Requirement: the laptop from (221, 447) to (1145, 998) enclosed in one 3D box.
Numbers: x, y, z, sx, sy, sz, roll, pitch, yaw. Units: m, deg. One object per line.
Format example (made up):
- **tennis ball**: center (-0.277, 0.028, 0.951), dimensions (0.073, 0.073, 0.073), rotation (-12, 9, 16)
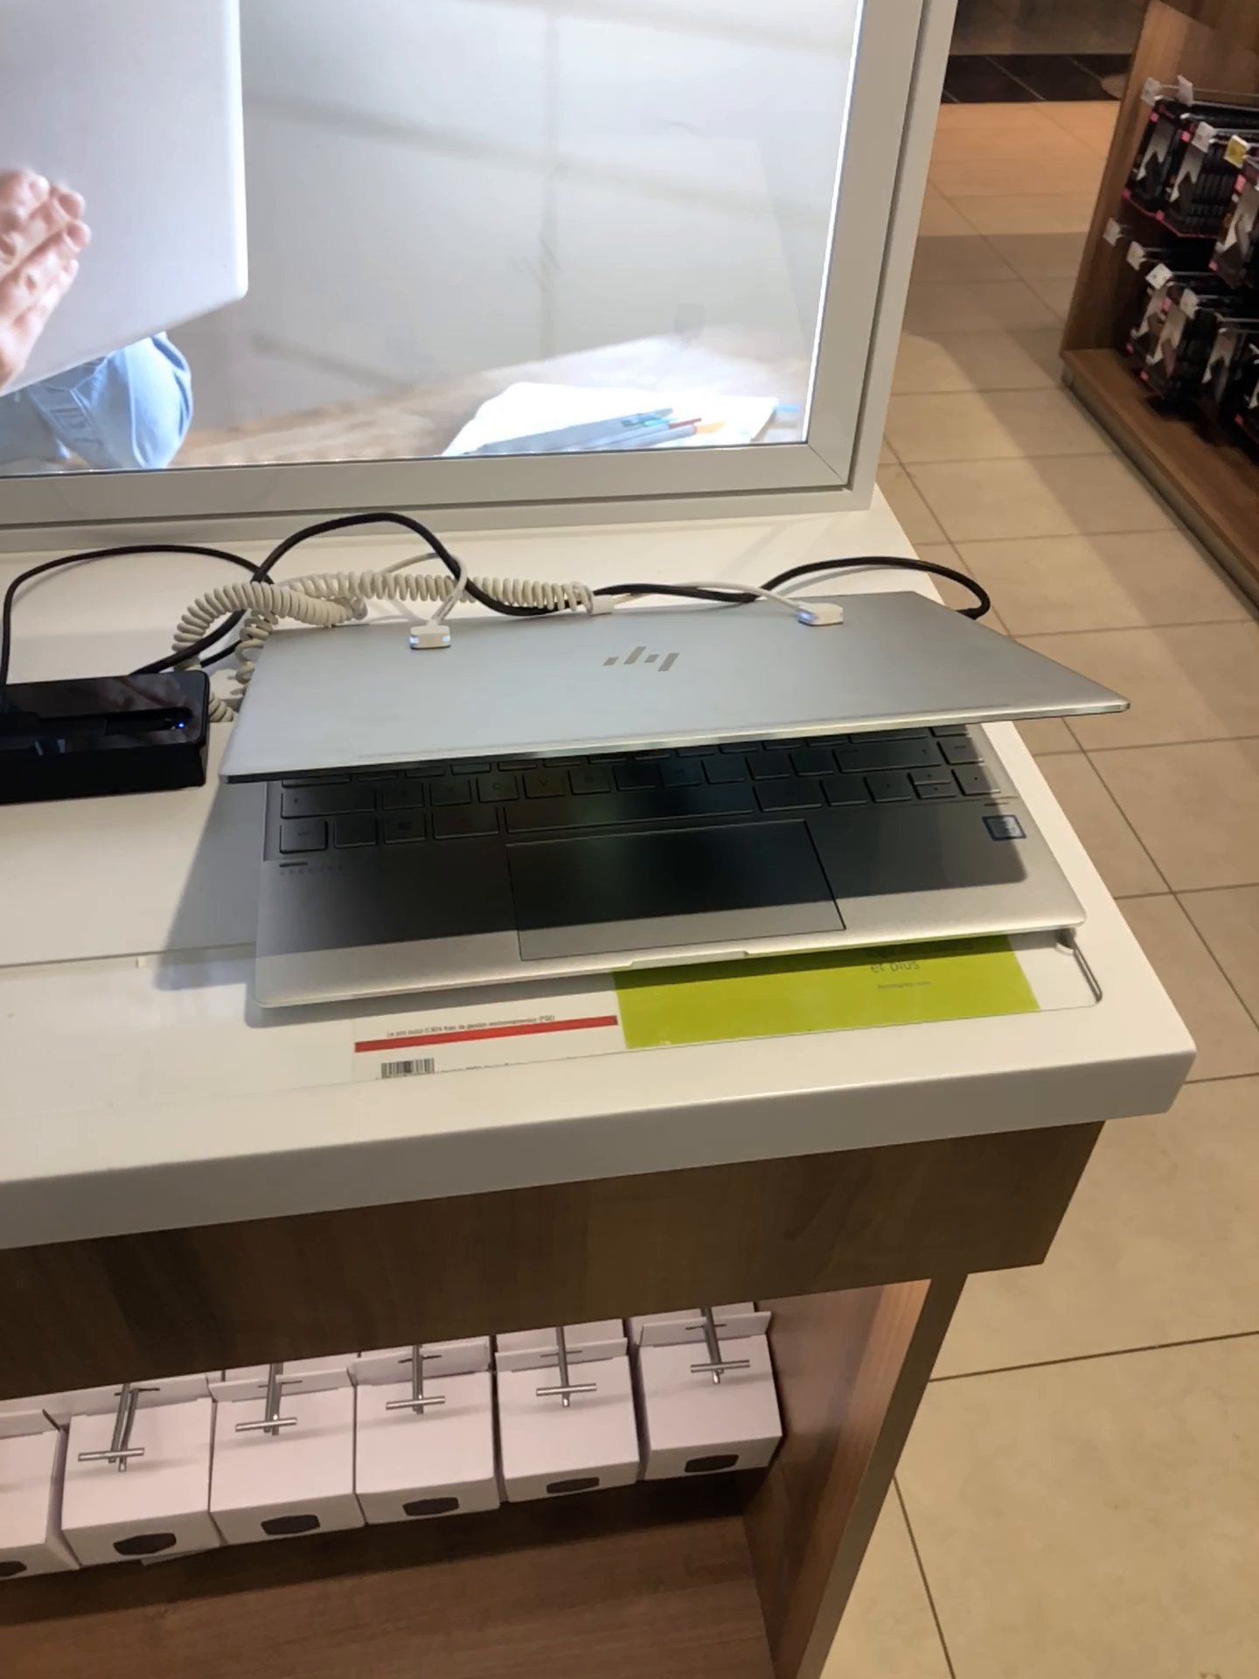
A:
- **laptop**: center (0.005, -0.059, 0.540), dimensions (0.298, 0.078, 0.212), rotation (-5, 44, -8)
